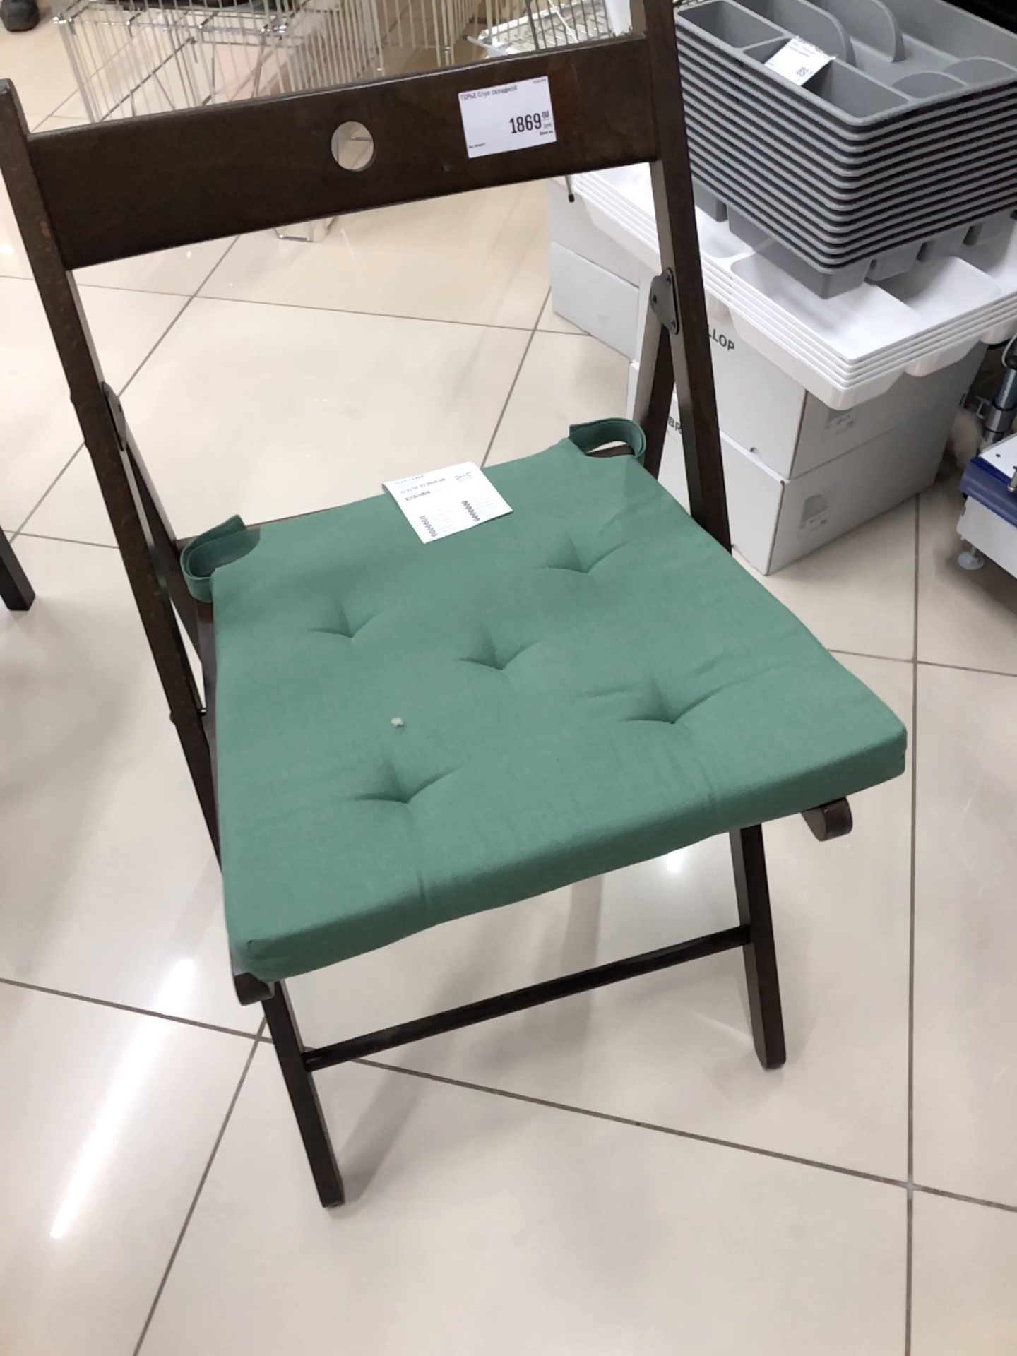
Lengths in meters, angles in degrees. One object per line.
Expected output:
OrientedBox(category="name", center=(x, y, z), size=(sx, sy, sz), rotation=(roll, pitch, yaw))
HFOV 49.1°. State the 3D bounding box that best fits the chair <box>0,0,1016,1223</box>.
OrientedBox(category="chair", center=(-0.034, -0.020, 0.798), size=(0.440, 0.685, 0.483), rotation=(-15, 51, -9))
